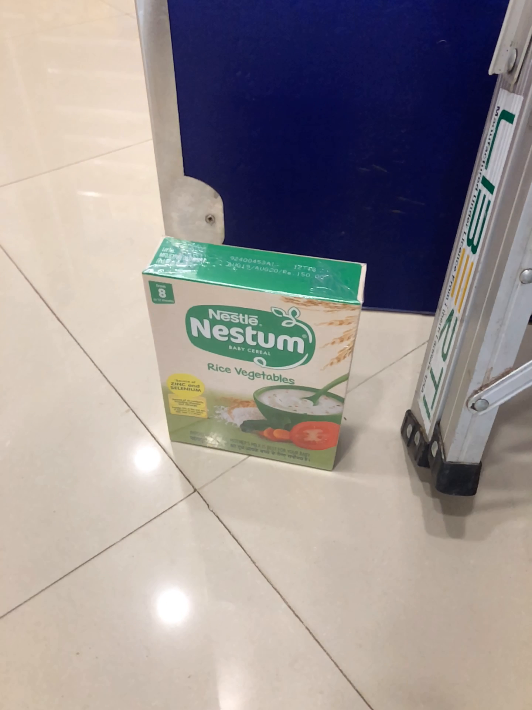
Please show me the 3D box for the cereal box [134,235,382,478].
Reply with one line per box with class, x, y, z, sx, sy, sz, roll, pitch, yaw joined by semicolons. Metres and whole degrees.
cereal box;-0.005;0.009;0.463;0.160;0.189;0.050;9;46;7
